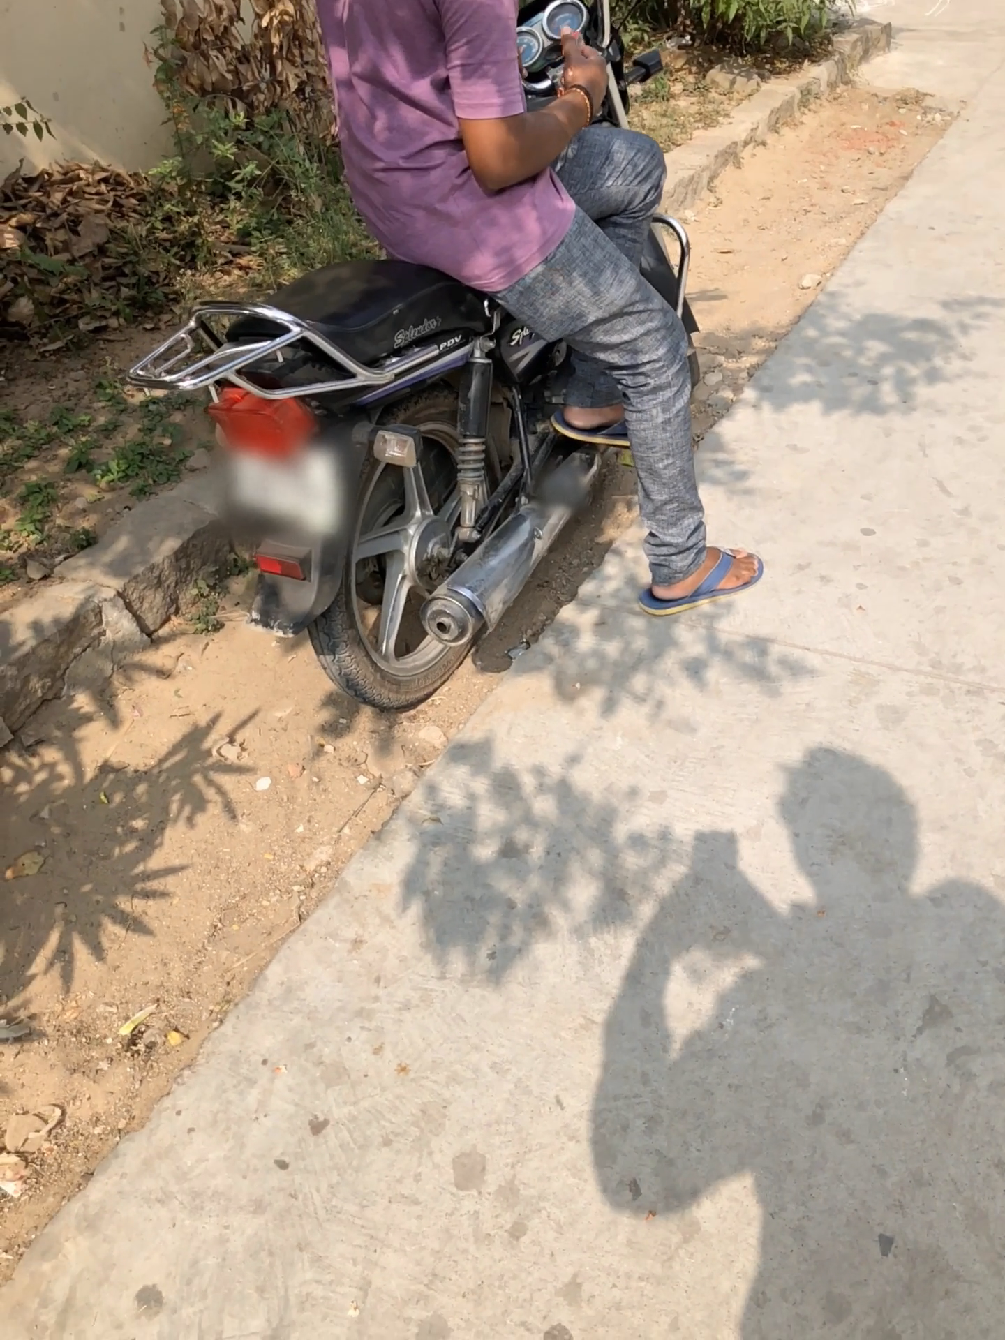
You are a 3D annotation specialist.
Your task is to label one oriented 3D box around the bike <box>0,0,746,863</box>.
[{"bbox_3d":[-0.064,-0.832,2.360,0.769,1.294,1.770,11,47,18],"label":"bike"}]
